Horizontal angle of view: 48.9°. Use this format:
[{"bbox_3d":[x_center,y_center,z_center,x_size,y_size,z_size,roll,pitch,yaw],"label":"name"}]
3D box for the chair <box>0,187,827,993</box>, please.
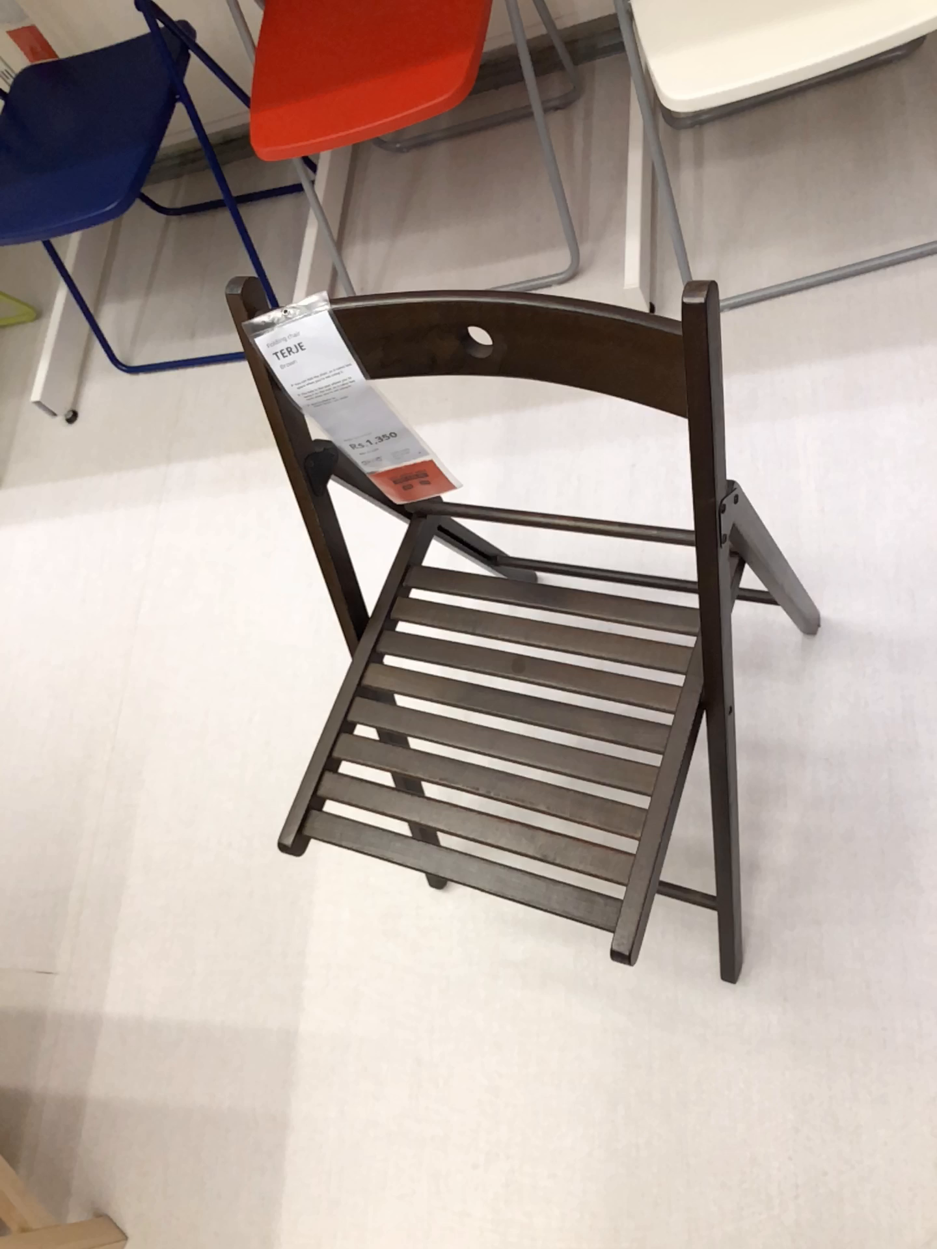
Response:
[{"bbox_3d":[0.053,0.036,1.069,0.461,0.777,0.501,10,73,27],"label":"chair"}]
